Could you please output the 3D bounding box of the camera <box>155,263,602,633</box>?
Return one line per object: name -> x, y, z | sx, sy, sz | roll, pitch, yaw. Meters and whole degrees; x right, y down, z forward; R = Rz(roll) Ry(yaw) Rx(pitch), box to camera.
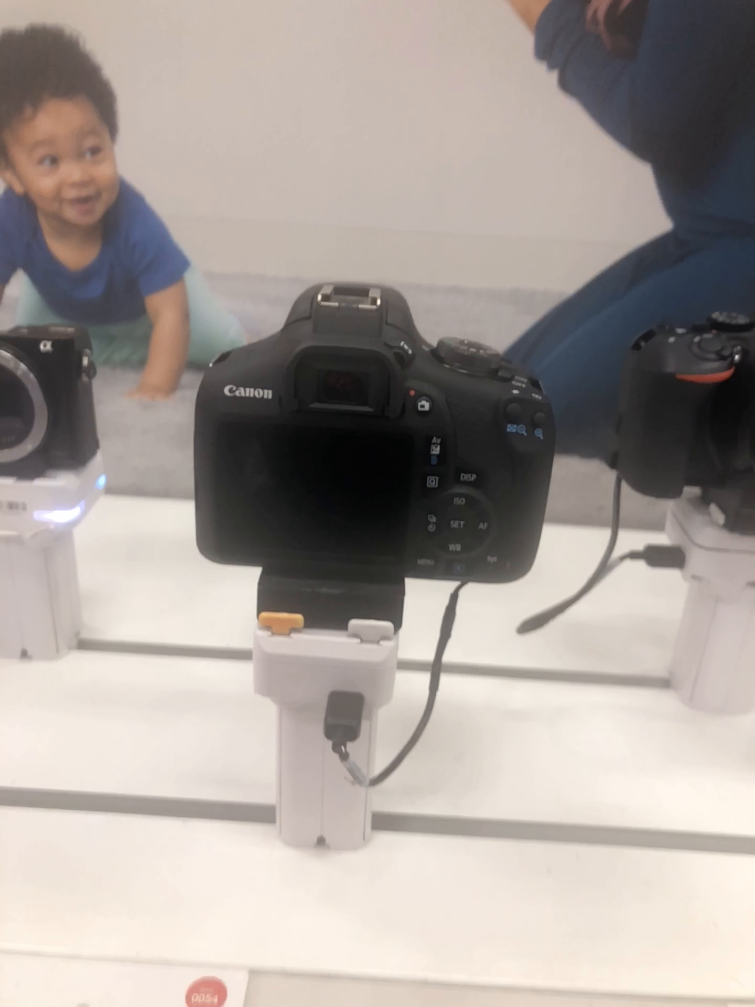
camera -> 0.001, -0.037, 0.358 | 0.140, 0.090, 0.171 | 4, 26, 1
